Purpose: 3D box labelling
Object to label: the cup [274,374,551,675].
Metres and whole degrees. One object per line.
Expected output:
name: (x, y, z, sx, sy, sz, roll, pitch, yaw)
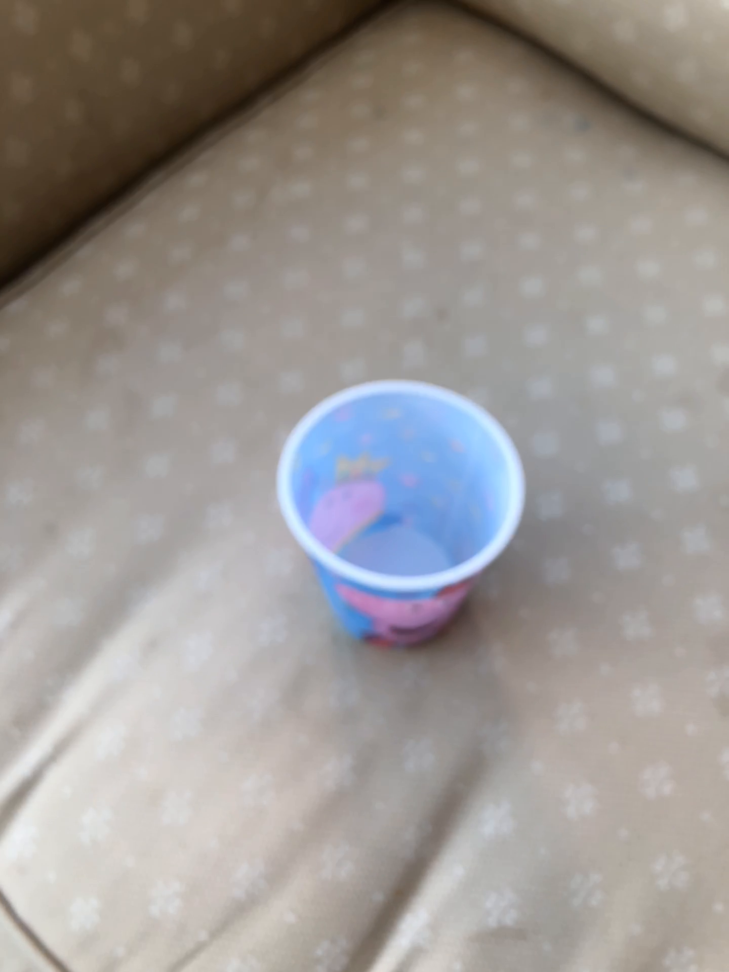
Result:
cup: (0.015, 0.021, 0.356, 0.091, 0.101, 0.087, 0, 65, 0)
